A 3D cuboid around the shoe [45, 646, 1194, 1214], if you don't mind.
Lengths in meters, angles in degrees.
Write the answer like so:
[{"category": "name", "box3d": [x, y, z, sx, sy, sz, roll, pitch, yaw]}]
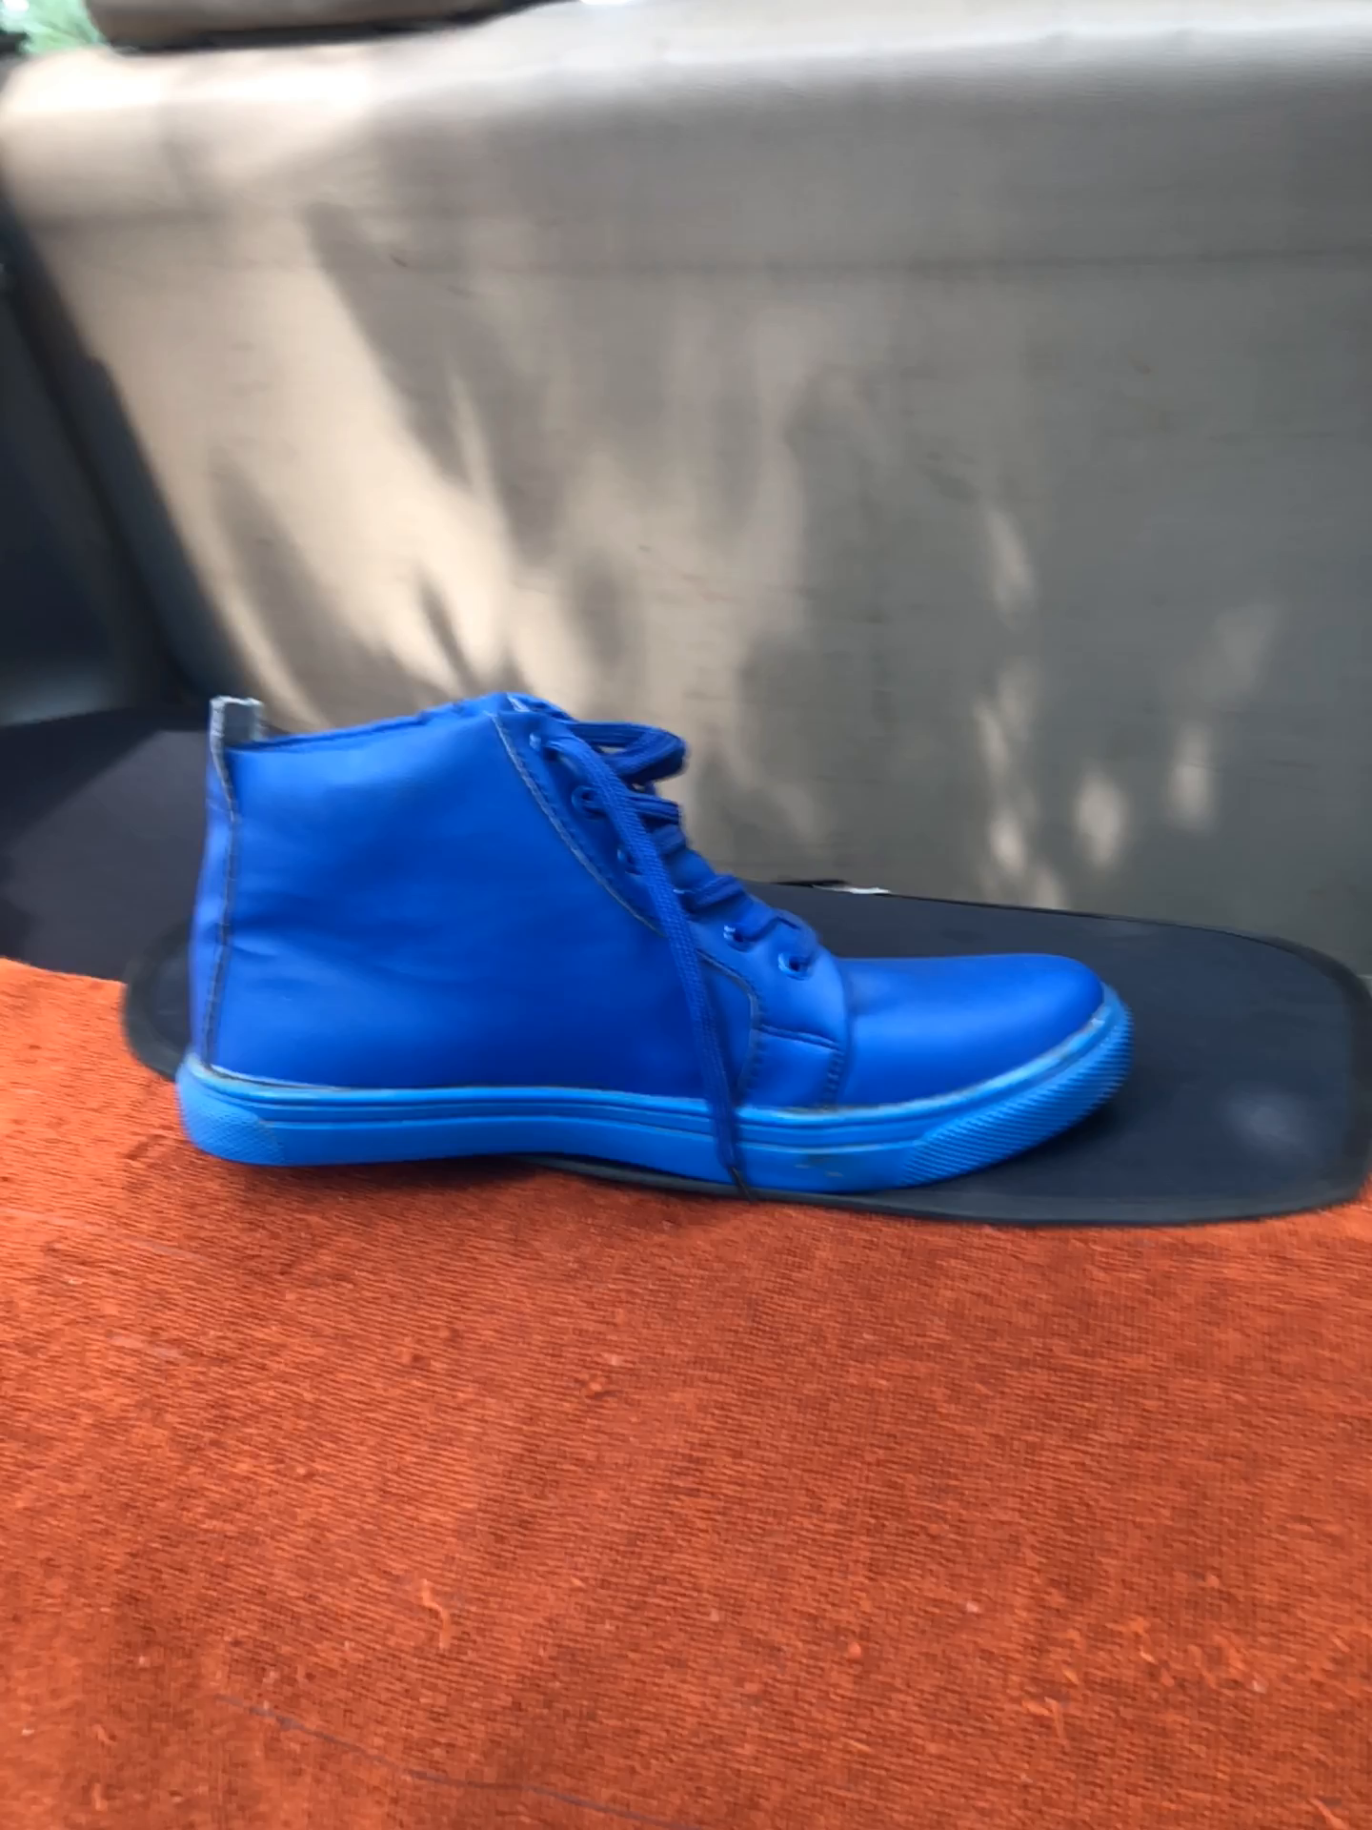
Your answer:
[{"category": "shoe", "box3d": [-0.017, -0.001, 0.452, 0.290, 0.139, 0.100, 1, 19, 1]}]
